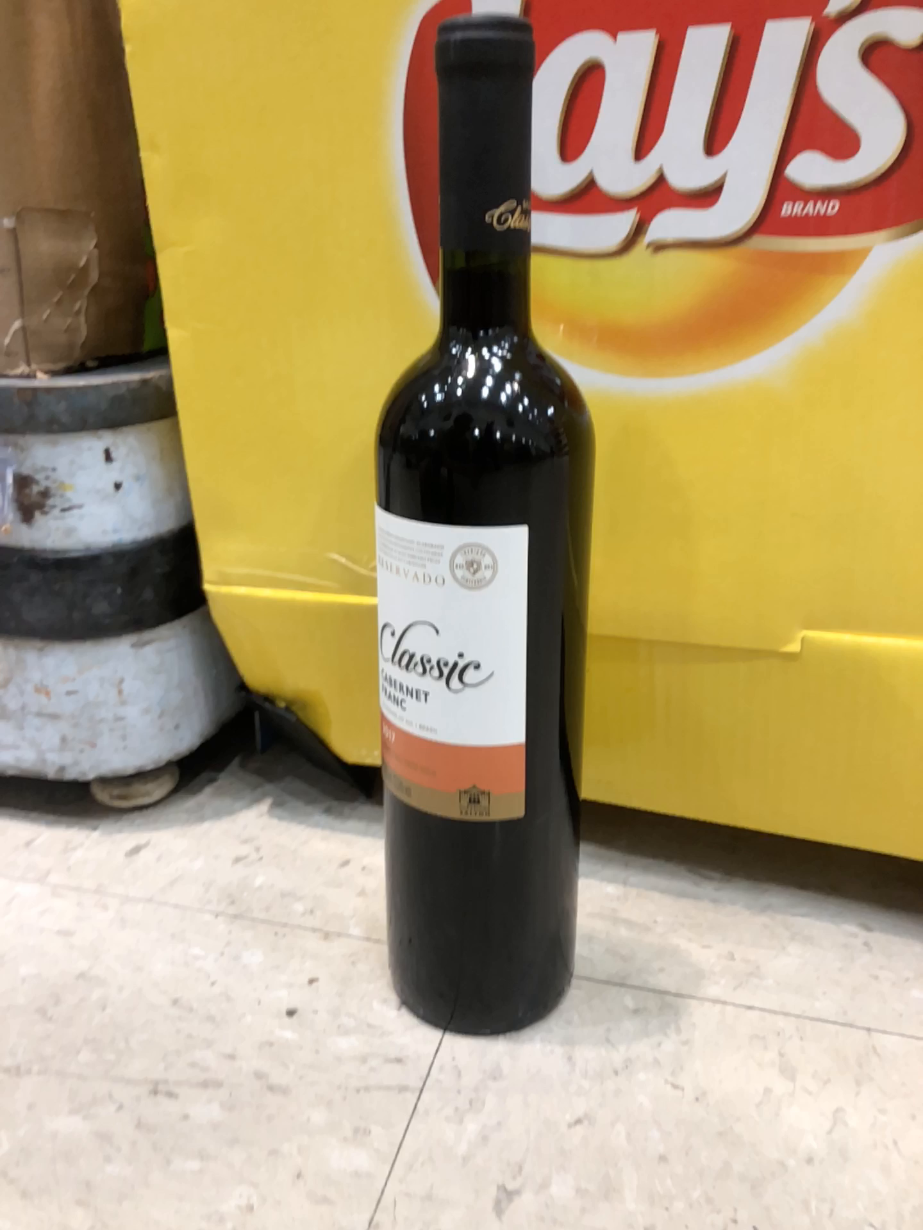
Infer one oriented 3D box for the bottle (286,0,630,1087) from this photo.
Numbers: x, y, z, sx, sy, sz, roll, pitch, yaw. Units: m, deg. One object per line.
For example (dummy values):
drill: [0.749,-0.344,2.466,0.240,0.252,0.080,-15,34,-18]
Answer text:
bottle: [0.001,-0.010,0.328,0.070,0.318,0.060,15,25,38]
